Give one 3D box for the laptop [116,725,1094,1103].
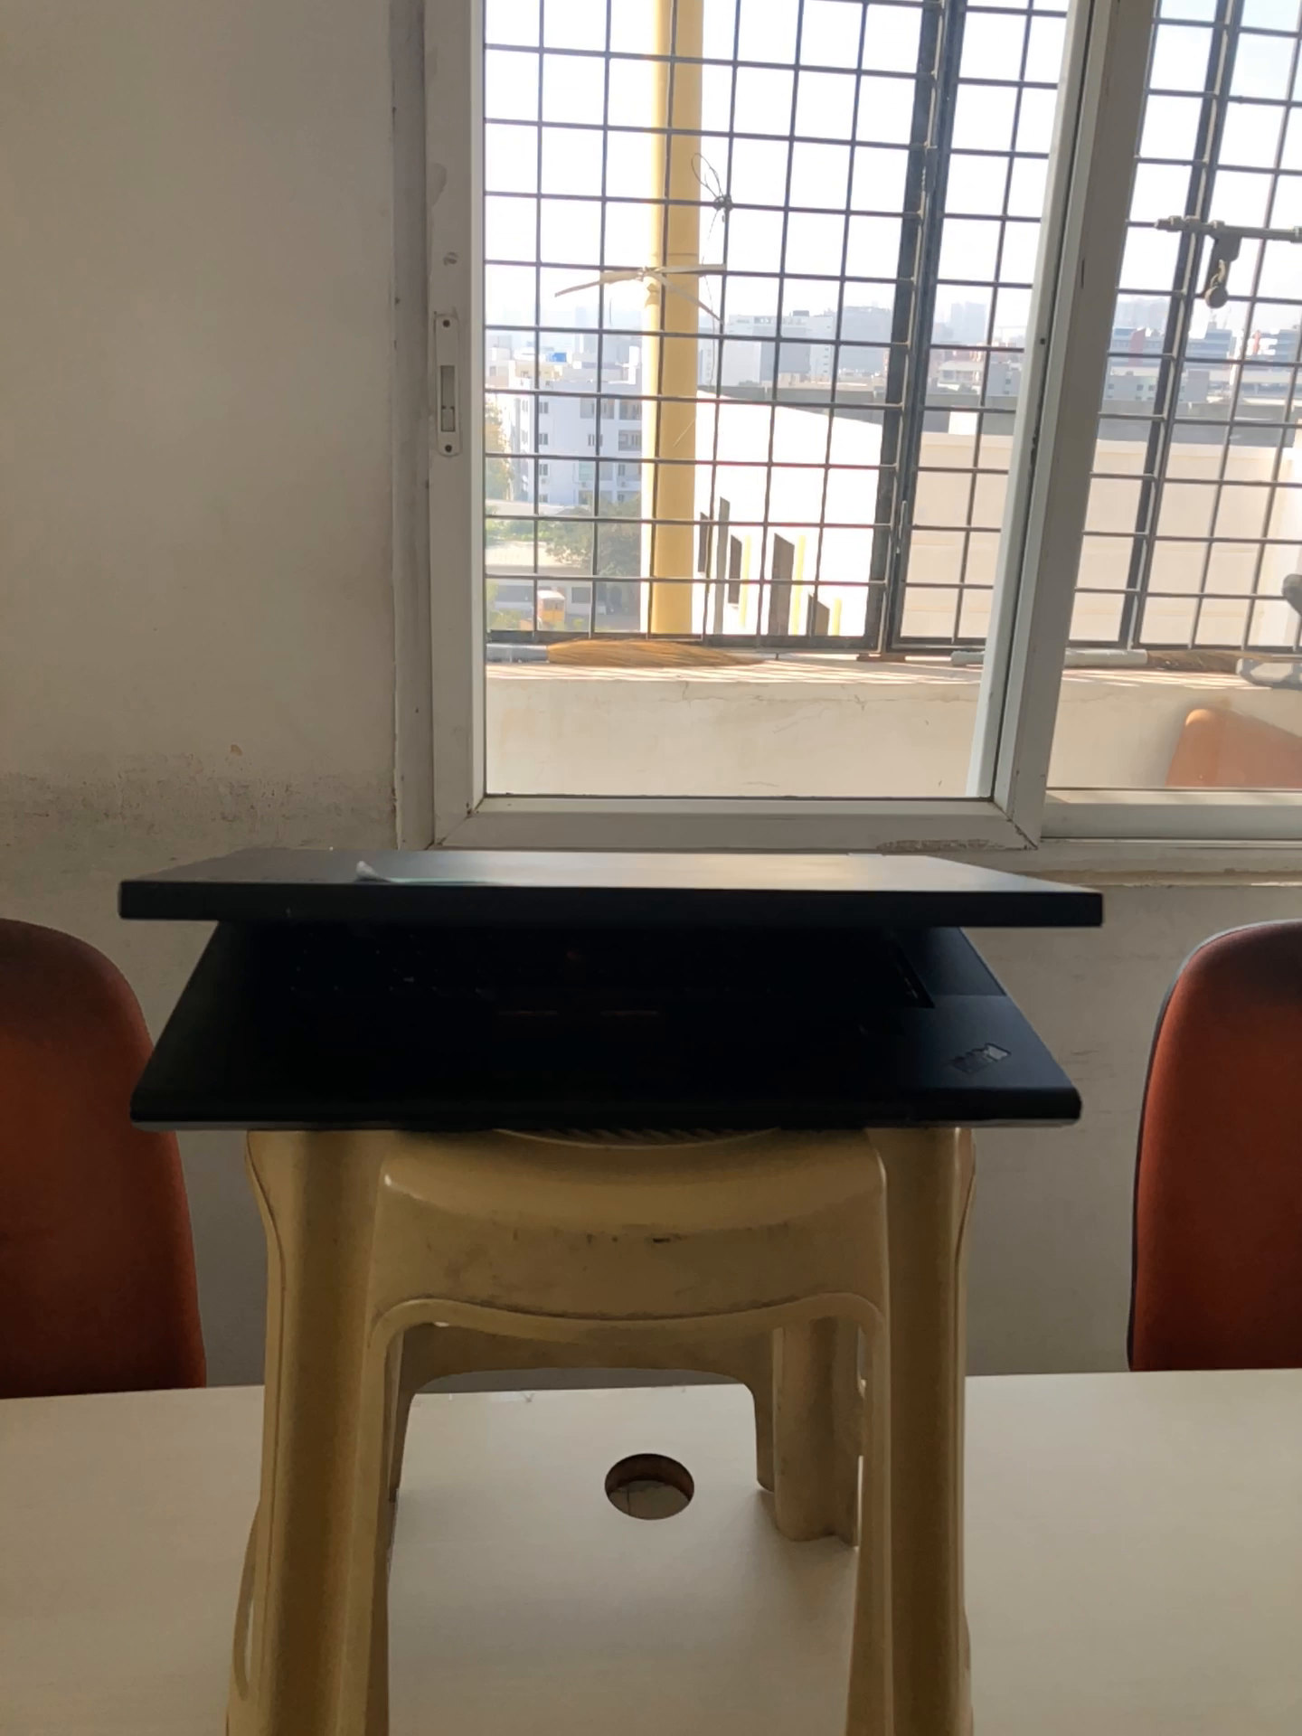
[{"bbox_3d":[-0.020,0.008,0.646,0.362,0.074,0.236,0,22,-6],"label":"laptop"}]
